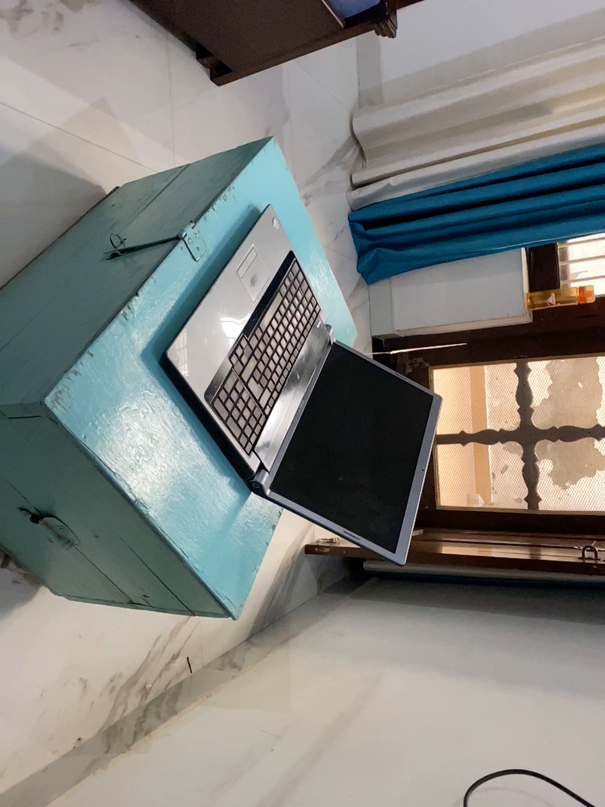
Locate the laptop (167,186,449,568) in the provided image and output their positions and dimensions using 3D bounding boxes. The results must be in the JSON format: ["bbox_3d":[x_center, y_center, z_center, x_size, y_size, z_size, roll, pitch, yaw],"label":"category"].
[{"bbox_3d":[0.060,-0.033,1.021,0.479,0.178,0.390,60,38,-36],"label":"laptop"}]
